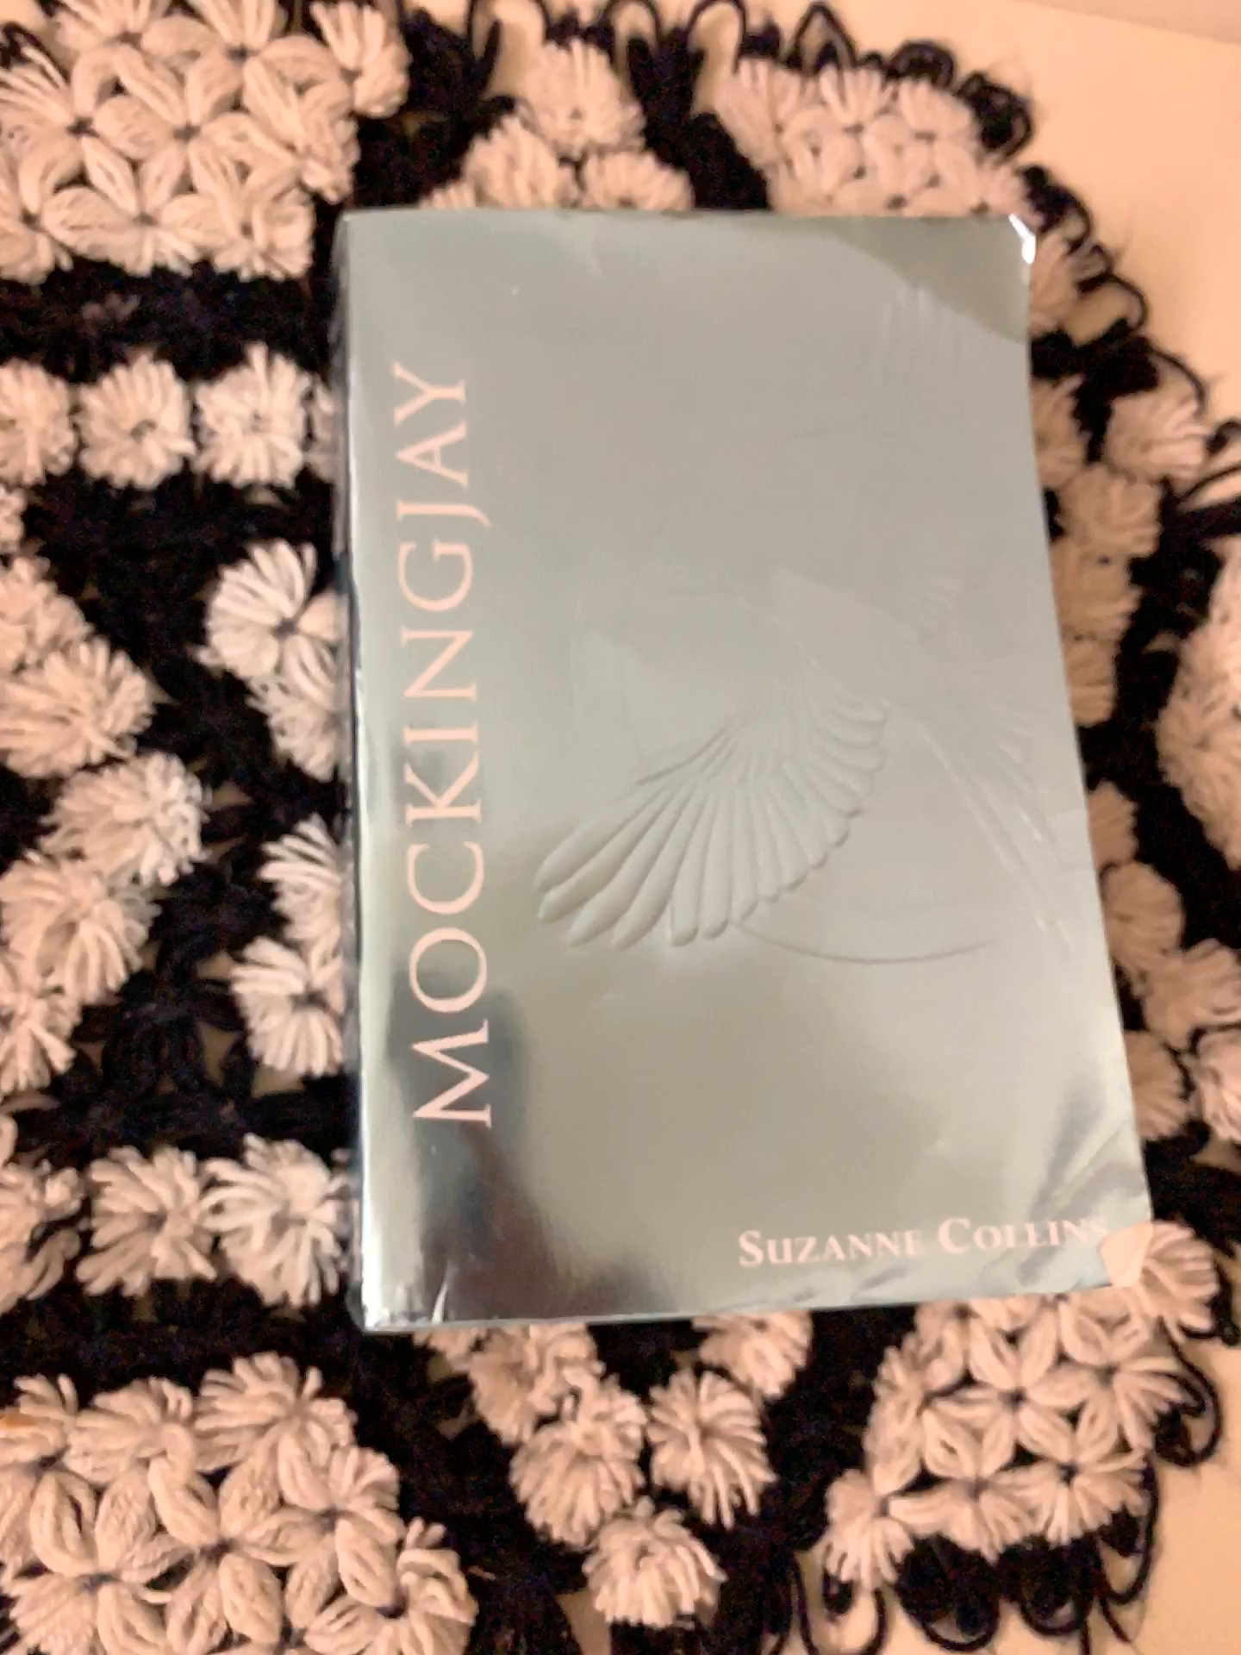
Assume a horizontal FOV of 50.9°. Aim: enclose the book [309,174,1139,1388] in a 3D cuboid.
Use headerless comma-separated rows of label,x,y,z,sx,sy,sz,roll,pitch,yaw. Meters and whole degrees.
book,0.014,-0.012,0.238,0.136,0.036,0.193,0,81,-15
